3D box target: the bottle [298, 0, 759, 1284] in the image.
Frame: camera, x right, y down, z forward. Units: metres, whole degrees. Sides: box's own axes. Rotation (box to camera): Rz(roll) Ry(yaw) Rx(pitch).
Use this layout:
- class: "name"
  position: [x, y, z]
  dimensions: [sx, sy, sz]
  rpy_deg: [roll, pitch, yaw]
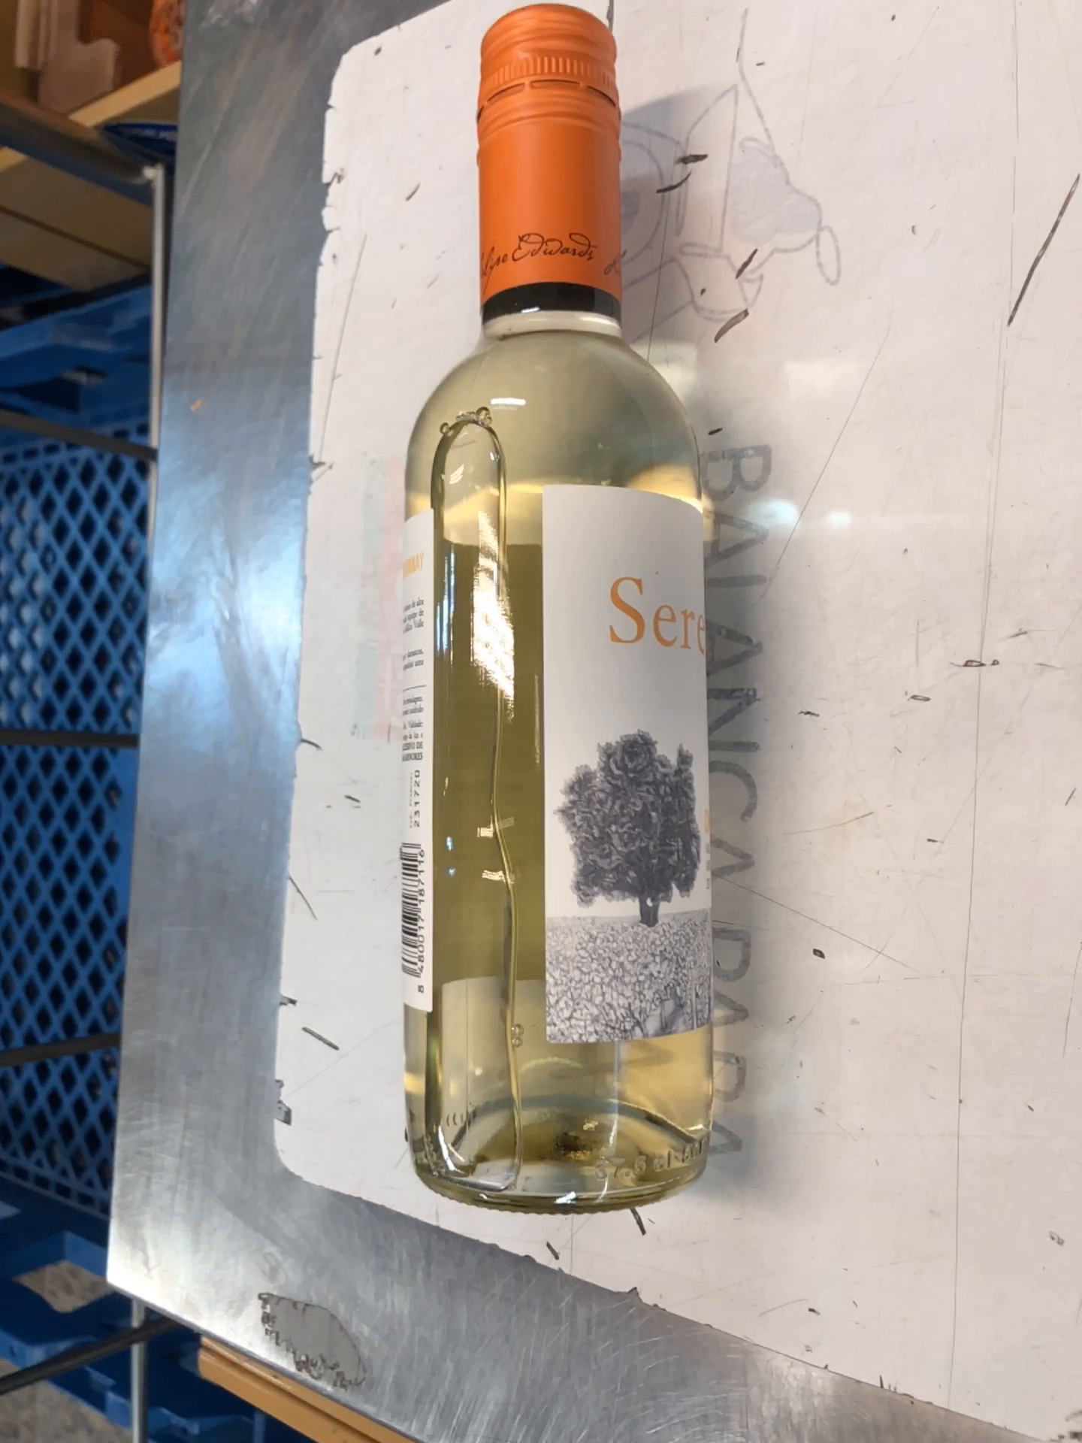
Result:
- class: "bottle"
  position: [0.003, -0.042, 0.246]
  dimensions: [0.070, 0.070, 0.270]
  rpy_deg: [1, 88, 15]
